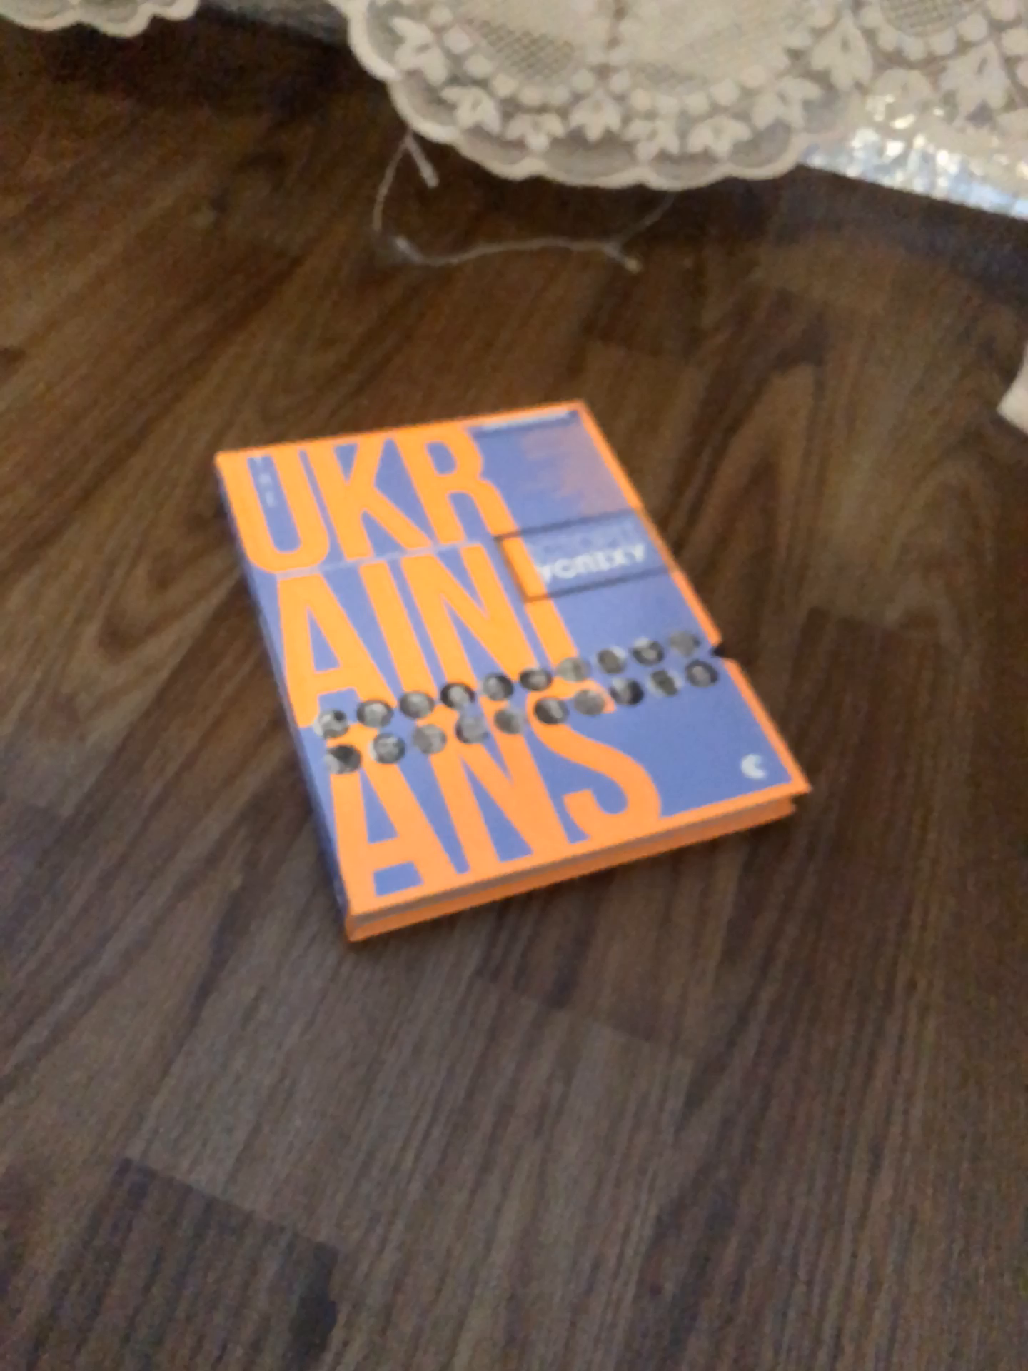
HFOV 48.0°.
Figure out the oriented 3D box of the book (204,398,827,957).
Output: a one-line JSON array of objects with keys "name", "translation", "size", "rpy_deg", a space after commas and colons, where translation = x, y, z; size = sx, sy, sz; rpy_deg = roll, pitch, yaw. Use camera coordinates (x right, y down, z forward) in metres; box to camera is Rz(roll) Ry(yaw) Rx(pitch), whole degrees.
[{"name": "book", "translation": [-0.010, -0.022, 0.430], "size": [0.165, 0.020, 0.216], "rpy_deg": [-12, 54, -18]}]
